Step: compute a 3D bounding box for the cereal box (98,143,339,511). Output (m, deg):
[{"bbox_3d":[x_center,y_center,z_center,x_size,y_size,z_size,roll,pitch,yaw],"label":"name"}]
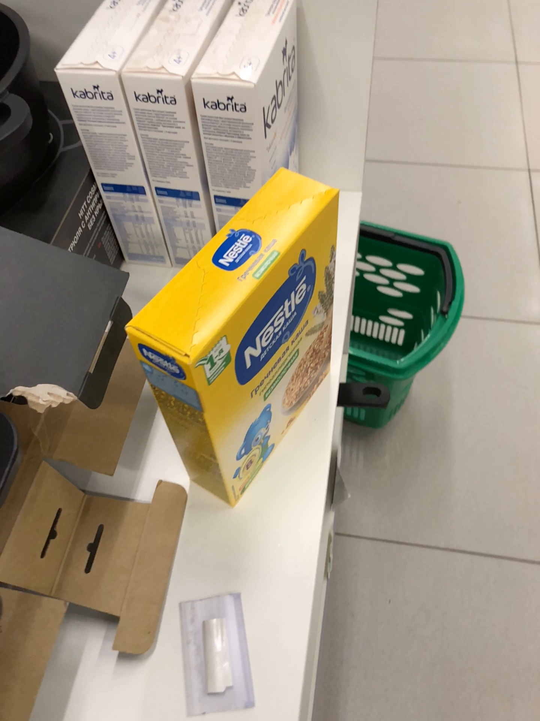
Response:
[{"bbox_3d":[-0.016,-0.010,0.397,0.050,0.199,0.150,27,61,21],"label":"cereal box"}]
